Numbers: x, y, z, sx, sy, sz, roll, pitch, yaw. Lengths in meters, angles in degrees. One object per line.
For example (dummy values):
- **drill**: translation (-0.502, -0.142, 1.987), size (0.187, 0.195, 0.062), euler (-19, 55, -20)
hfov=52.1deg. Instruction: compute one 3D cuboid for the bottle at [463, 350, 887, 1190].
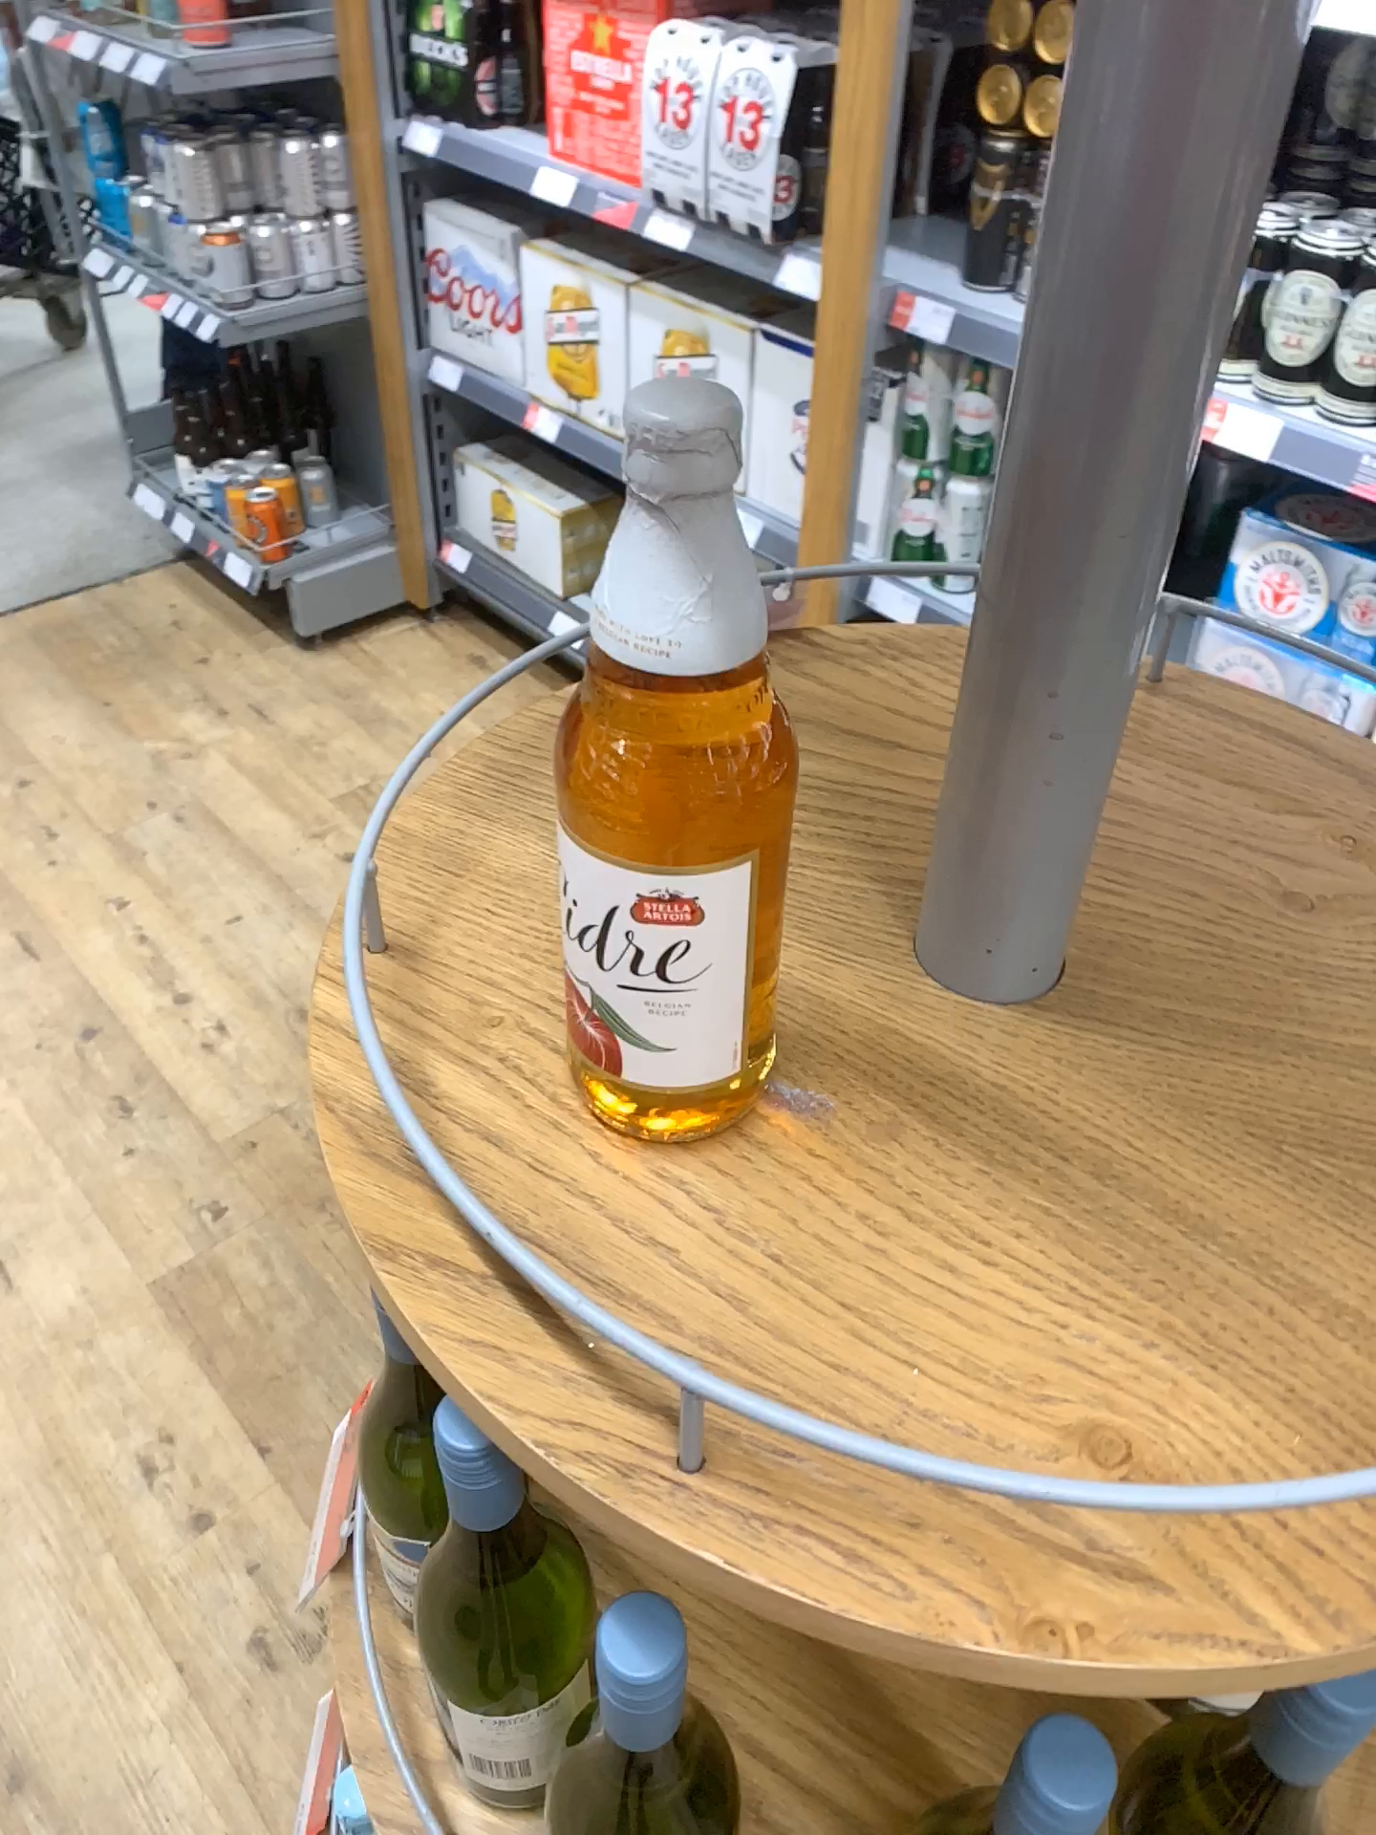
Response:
- **bottle**: translation (-0.005, -0.032, 0.397), size (0.070, 0.218, 0.069), euler (1, 41, -1)
